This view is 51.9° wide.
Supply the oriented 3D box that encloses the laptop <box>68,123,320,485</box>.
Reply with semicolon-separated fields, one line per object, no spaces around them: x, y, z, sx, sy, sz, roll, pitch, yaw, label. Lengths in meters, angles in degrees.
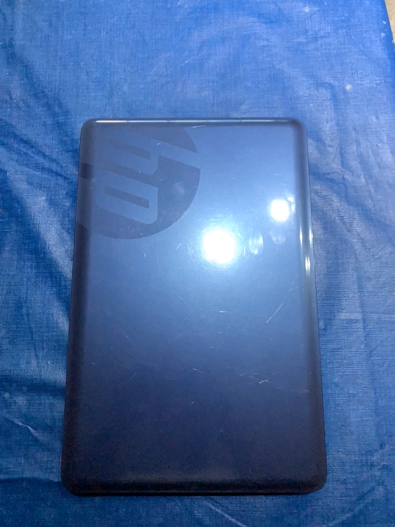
-0.003;0.027;0.415;0.235;0.009;0.364;0;80;-1;laptop
